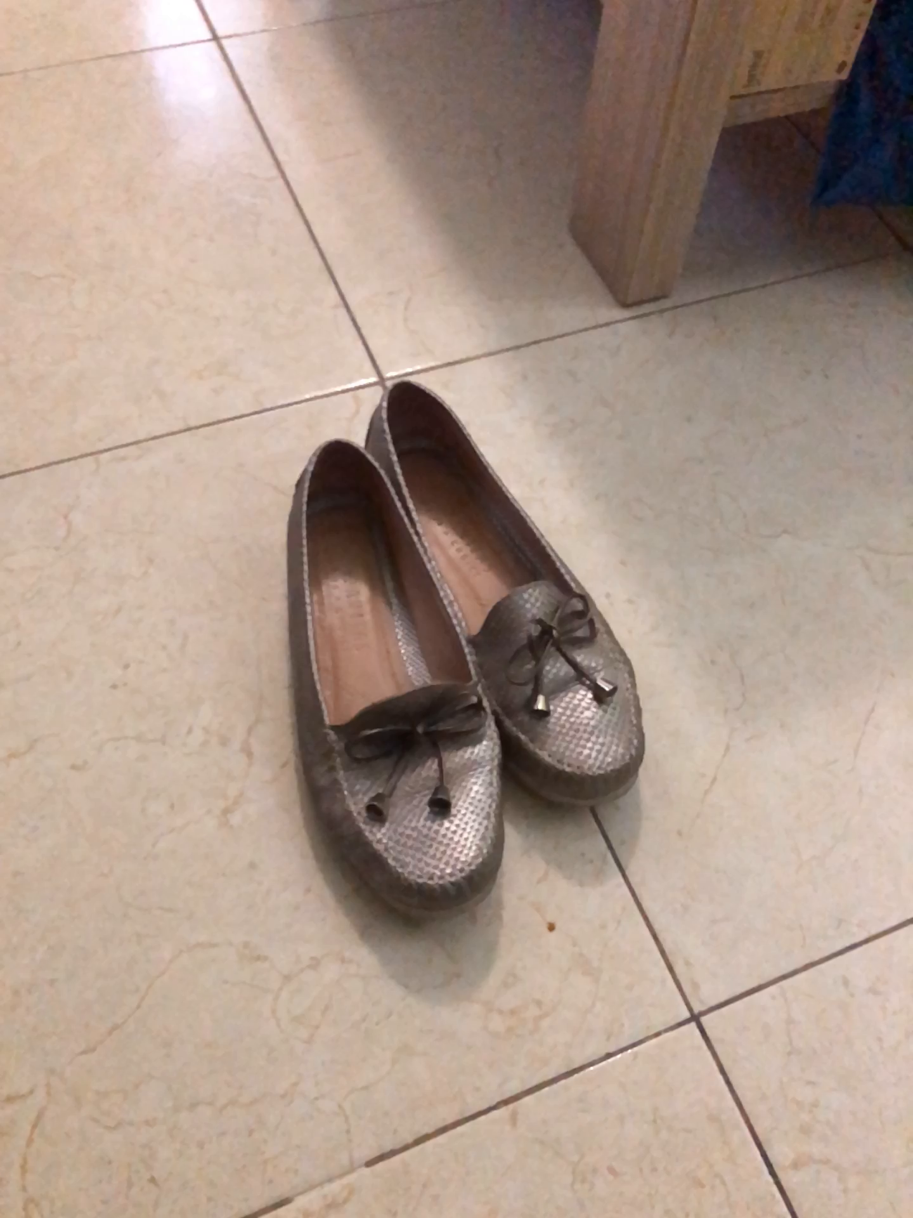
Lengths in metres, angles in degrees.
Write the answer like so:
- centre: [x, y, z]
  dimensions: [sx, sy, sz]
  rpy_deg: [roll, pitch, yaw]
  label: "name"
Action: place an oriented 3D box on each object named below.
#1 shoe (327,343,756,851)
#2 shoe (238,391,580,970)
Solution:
- centre: [0.033, -0.018, 0.565]
  dimensions: [0.100, 0.080, 0.270]
  rpy_deg: [-24, 61, -17]
  label: "shoe"
- centre: [-0.037, 0.024, 0.554]
  dimensions: [0.100, 0.080, 0.301]
  rpy_deg: [-13, 59, -11]
  label: "shoe"
